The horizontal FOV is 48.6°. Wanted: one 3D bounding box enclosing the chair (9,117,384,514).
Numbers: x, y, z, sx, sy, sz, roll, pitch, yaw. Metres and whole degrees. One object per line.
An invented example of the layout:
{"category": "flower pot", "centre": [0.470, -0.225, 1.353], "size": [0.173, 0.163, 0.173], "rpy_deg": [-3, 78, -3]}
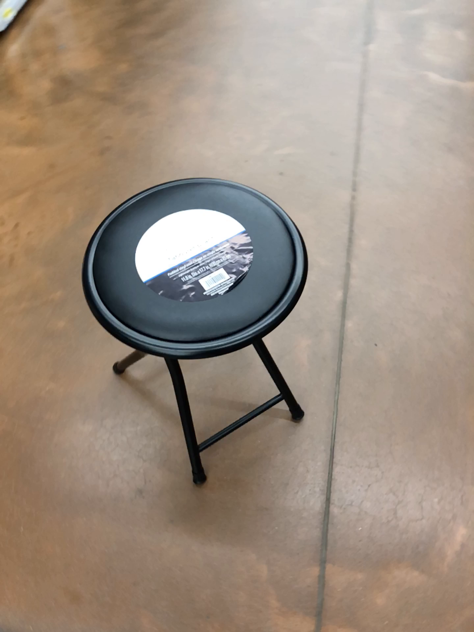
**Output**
{"category": "chair", "centre": [-0.054, 0.015, 0.792], "size": [0.320, 0.399, 0.331], "rpy_deg": [-31, 61, -17]}
